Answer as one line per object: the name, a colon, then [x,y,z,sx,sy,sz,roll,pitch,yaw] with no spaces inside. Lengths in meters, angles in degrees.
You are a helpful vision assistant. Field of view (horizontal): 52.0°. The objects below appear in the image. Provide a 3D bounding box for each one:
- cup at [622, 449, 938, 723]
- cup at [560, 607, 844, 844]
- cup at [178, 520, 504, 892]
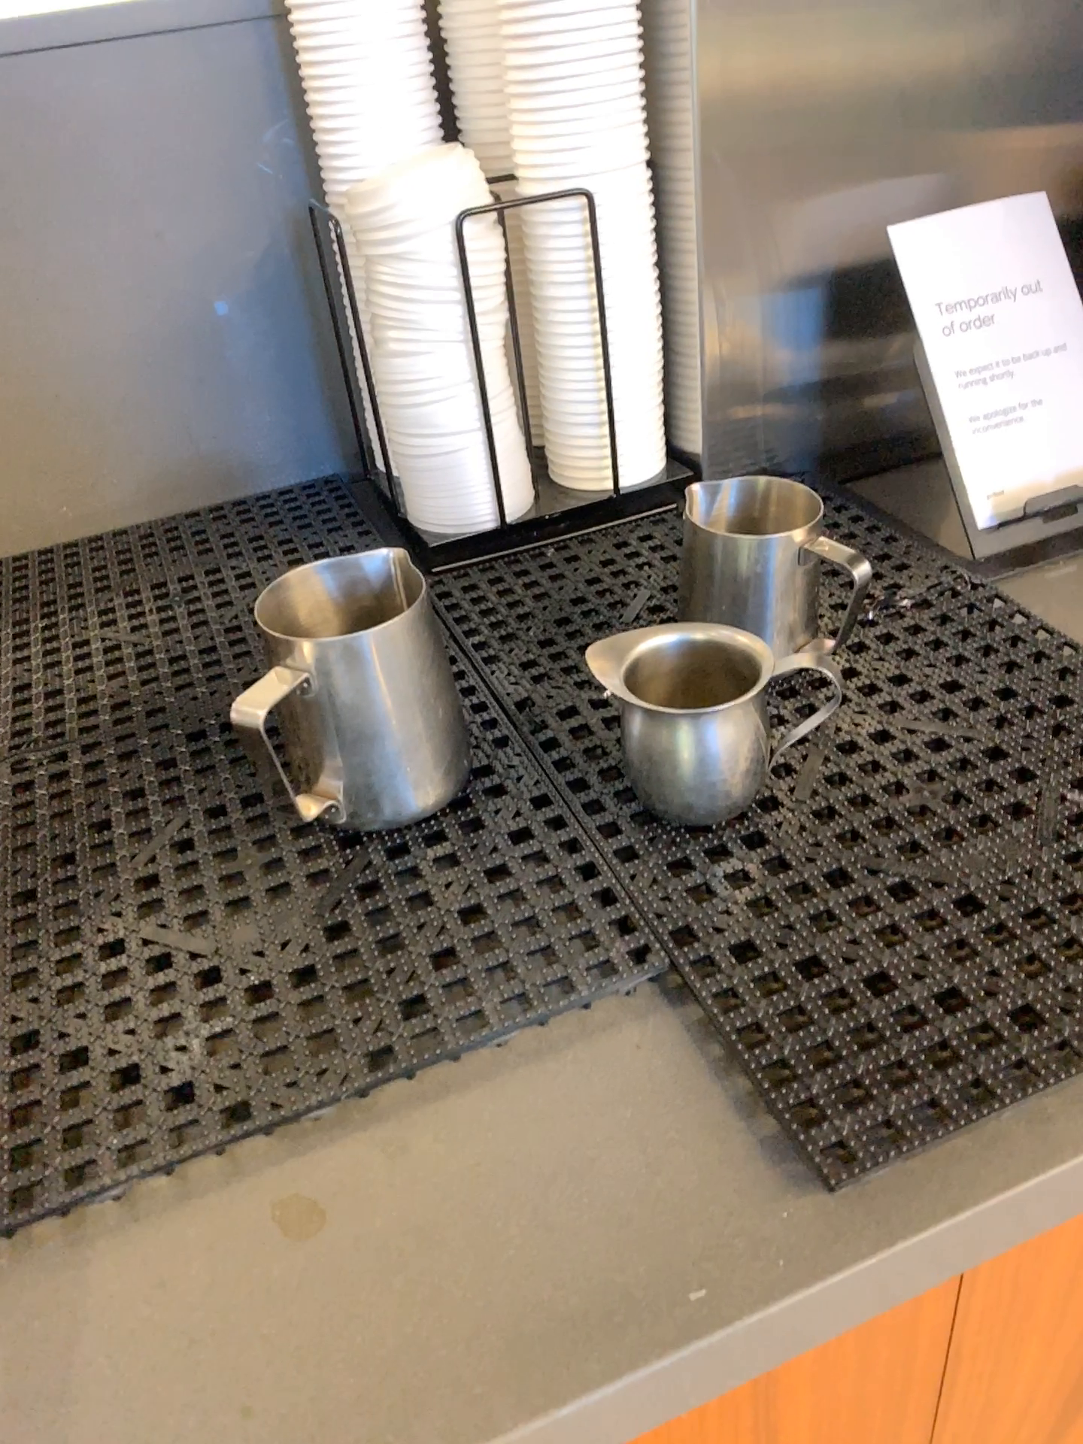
cup: [0.118,-0.074,0.568,0.080,0.079,0.131,-30,41,-29]
cup: [0.073,-0.001,0.483,0.110,0.070,0.070,3,36,14]
cup: [-0.082,-0.012,0.502,0.070,0.109,0.120,11,39,24]
